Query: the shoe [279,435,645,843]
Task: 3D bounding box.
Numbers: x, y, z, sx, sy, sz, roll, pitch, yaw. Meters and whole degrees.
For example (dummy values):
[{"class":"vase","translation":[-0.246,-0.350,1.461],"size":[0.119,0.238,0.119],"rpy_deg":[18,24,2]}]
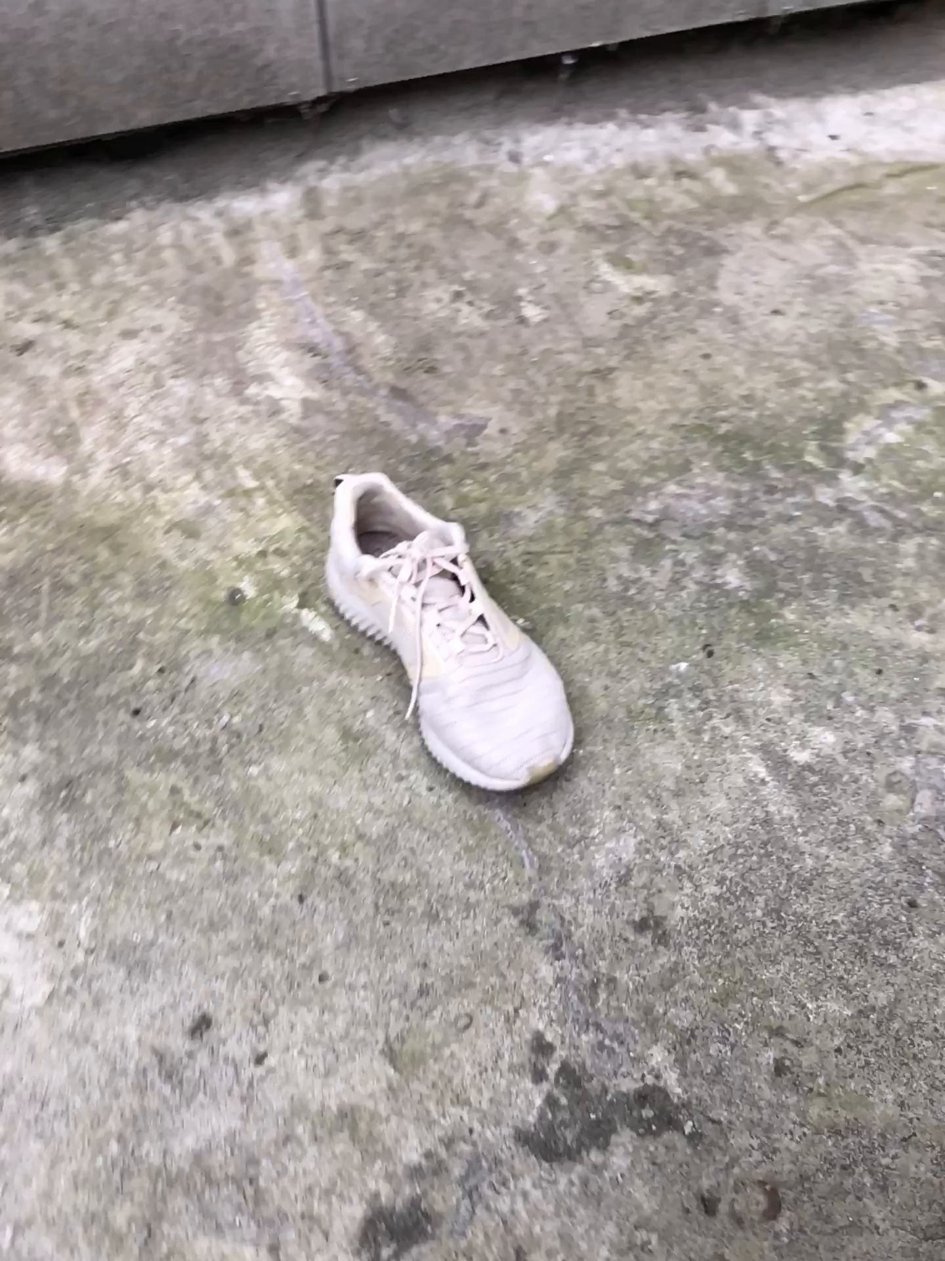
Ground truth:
[{"class":"shoe","translation":[-0.019,-0.008,0.777],"size":[0.120,0.109,0.301],"rpy_deg":[-24,50,-22]}]
